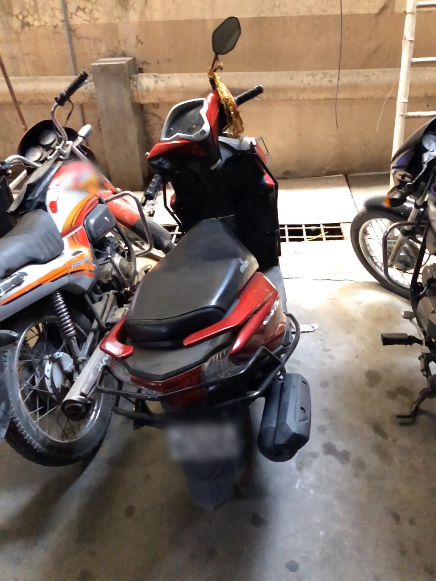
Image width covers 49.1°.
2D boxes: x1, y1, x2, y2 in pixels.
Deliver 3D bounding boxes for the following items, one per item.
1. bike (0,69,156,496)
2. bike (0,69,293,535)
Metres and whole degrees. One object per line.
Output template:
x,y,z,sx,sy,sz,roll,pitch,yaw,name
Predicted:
-0.851,-0.213,2.038,0.838,1.089,1.658,0,34,3,bike
-0.127,-0.085,1.871,0.630,1.139,1.446,-1,36,3,bike
